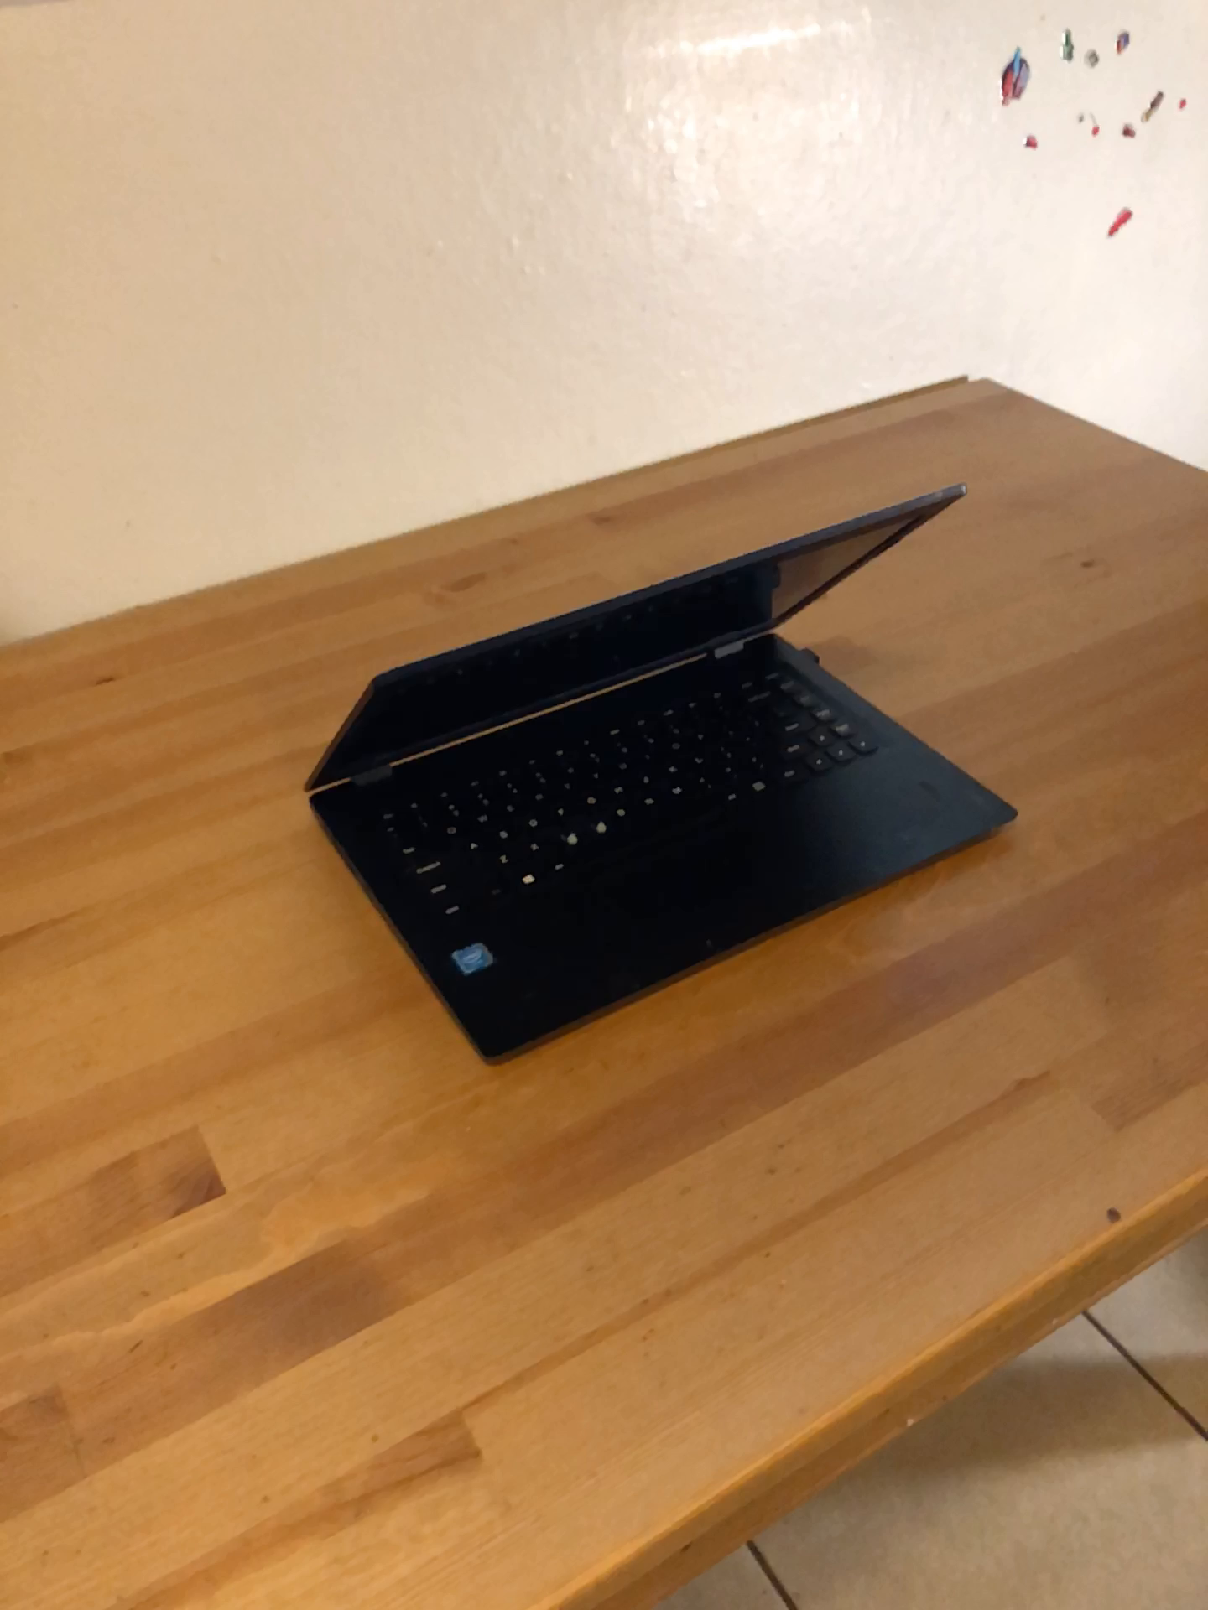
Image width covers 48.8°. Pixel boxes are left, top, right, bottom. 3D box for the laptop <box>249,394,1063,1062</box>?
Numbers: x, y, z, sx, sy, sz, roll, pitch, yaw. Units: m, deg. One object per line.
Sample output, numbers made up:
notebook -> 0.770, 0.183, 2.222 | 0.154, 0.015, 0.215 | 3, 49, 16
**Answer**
laptop -> 0.024, -0.061, 0.673 | 0.317, 0.161, 0.216 | -21, 43, -23
